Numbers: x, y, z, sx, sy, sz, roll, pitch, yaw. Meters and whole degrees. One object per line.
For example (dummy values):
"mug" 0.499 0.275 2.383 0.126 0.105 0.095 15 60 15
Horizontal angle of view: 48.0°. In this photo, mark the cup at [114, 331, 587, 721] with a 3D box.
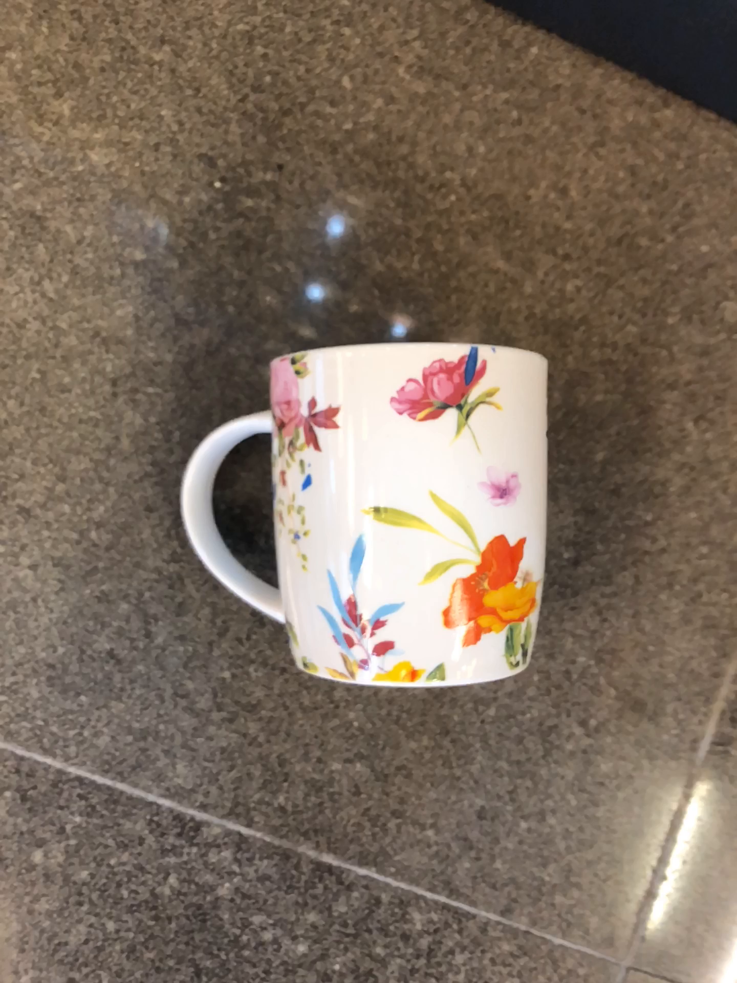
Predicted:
"cup" -0.003 0.010 0.254 0.120 0.080 0.090 -2 89 27
